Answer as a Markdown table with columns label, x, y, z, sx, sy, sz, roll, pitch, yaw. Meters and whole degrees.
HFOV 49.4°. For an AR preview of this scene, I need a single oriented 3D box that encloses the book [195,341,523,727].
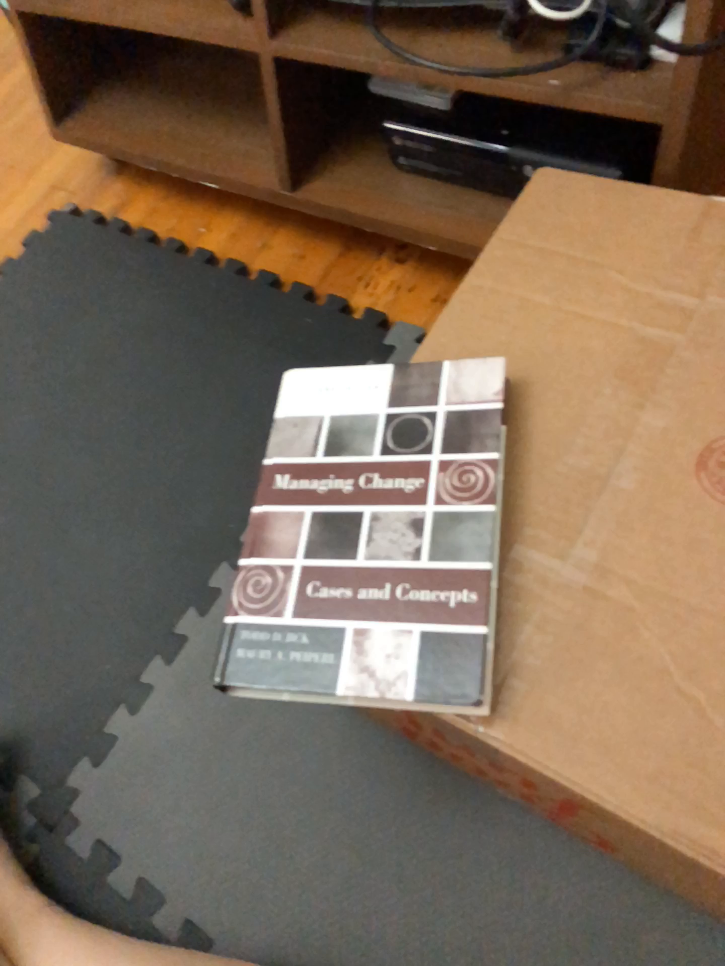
| label | x | y | z | sx | sy | sz | roll | pitch | yaw |
| --- | --- | --- | --- | --- | --- | --- | --- | --- | --- |
| book | 0.007 | 0.021 | 0.514 | 0.180 | 0.030 | 0.251 | 0 | 61 | 16 |
